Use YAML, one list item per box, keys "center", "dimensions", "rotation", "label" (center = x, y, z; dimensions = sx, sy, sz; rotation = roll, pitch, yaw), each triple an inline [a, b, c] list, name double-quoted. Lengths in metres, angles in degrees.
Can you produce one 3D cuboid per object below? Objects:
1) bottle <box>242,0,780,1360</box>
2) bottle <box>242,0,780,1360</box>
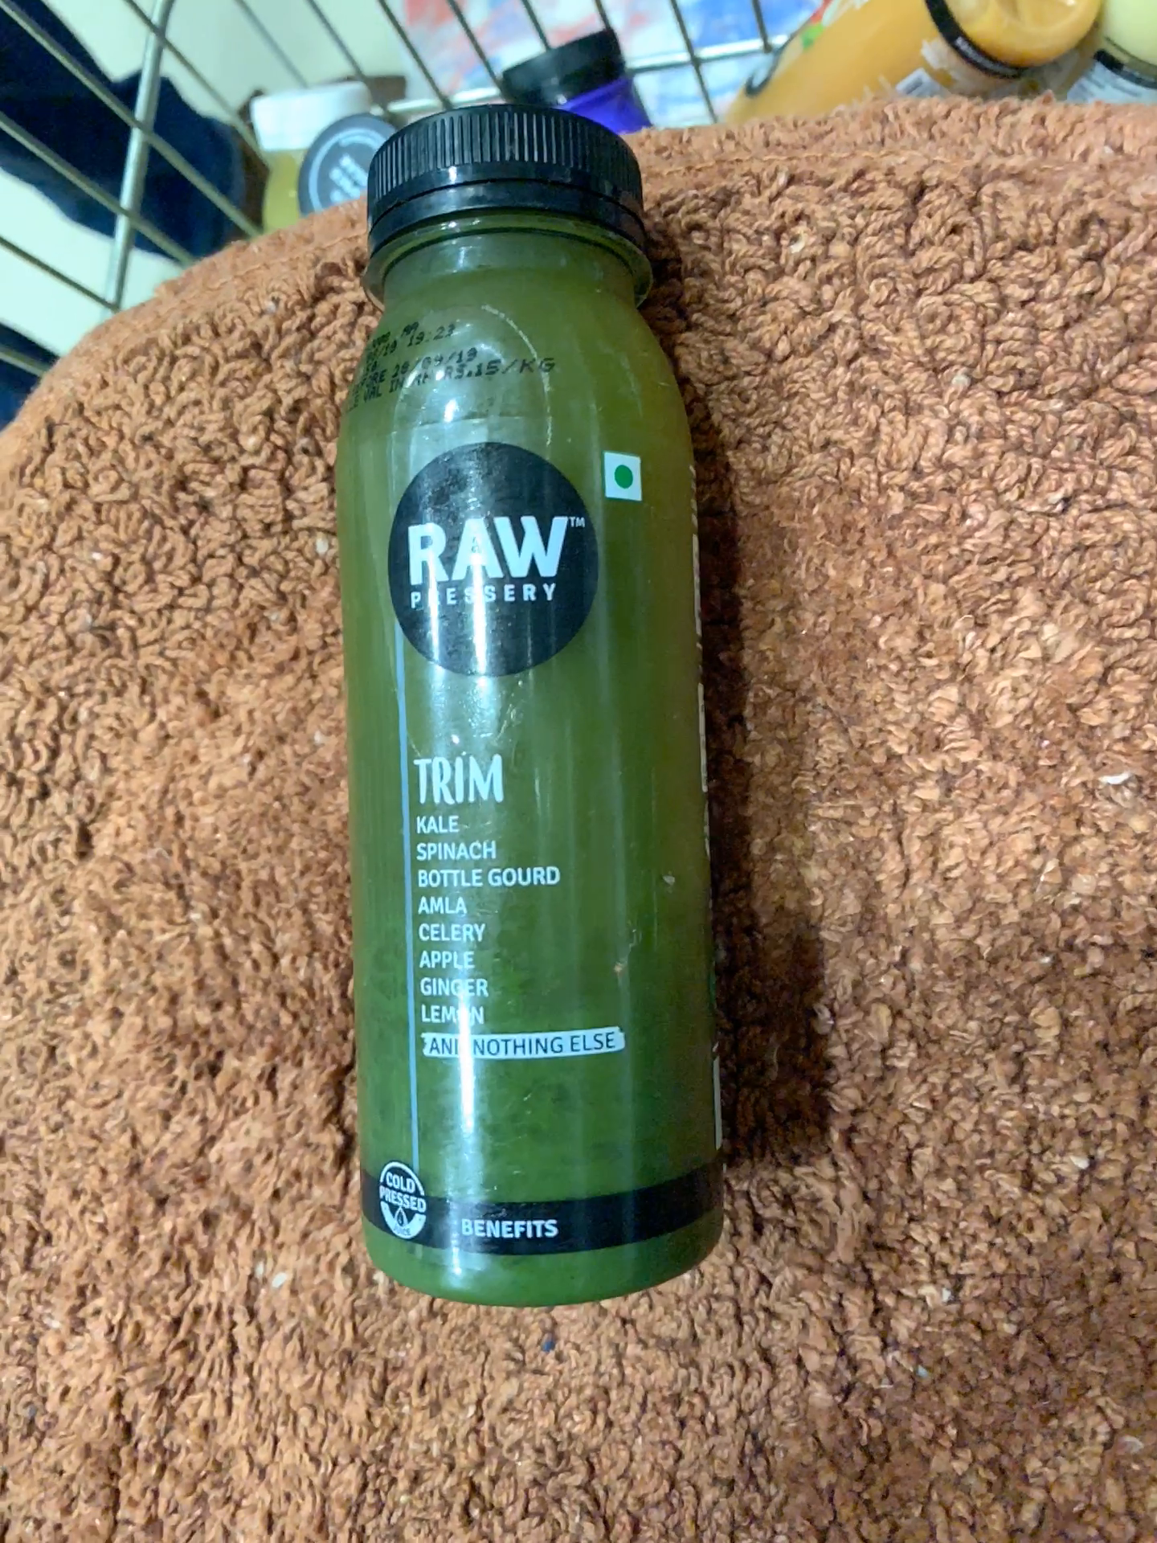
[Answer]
- center: [-0.004, -0.011, 0.161]
  dimensions: [0.060, 0.050, 0.150]
  rotation: [-1, 87, 10]
  label: "bottle"
- center: [-0.004, -0.011, 0.161]
  dimensions: [0.060, 0.050, 0.150]
  rotation: [-1, 87, 10]
  label: "bottle"
